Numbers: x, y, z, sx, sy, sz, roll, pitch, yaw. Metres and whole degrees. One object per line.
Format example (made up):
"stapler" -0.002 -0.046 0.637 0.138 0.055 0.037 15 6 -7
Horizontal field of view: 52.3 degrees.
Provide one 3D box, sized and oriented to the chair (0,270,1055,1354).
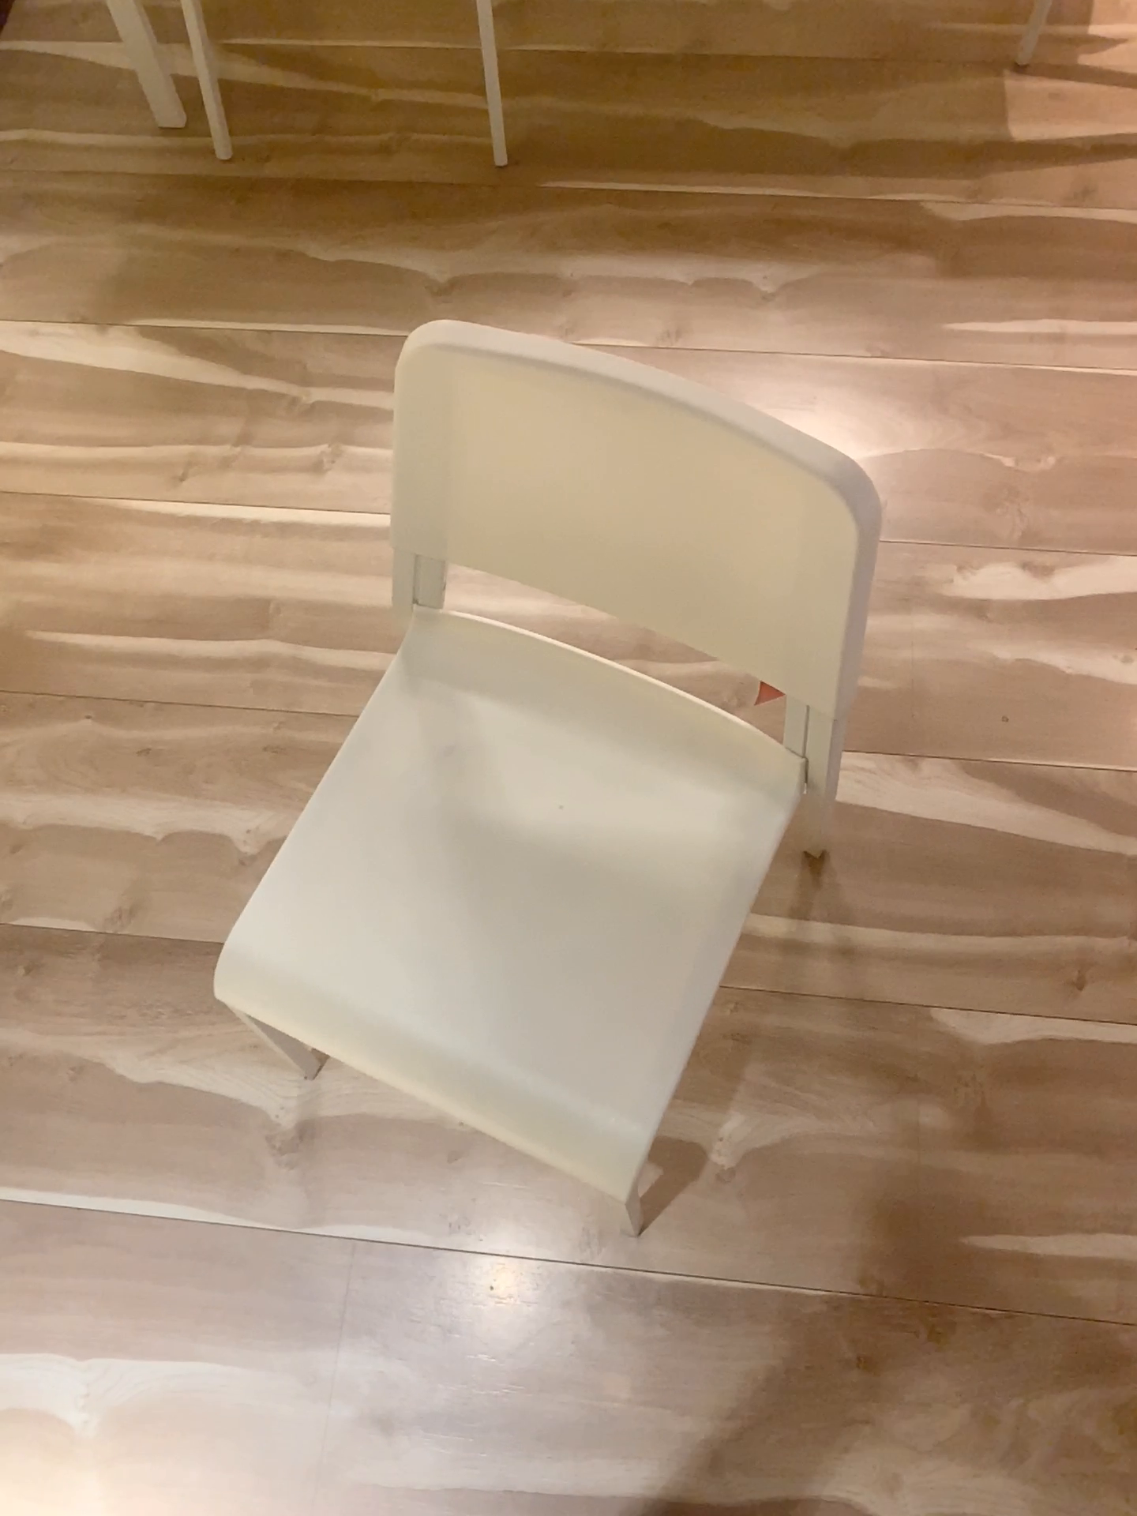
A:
"chair" -0.015 0.101 1.044 0.520 0.709 0.550 22 71 11
